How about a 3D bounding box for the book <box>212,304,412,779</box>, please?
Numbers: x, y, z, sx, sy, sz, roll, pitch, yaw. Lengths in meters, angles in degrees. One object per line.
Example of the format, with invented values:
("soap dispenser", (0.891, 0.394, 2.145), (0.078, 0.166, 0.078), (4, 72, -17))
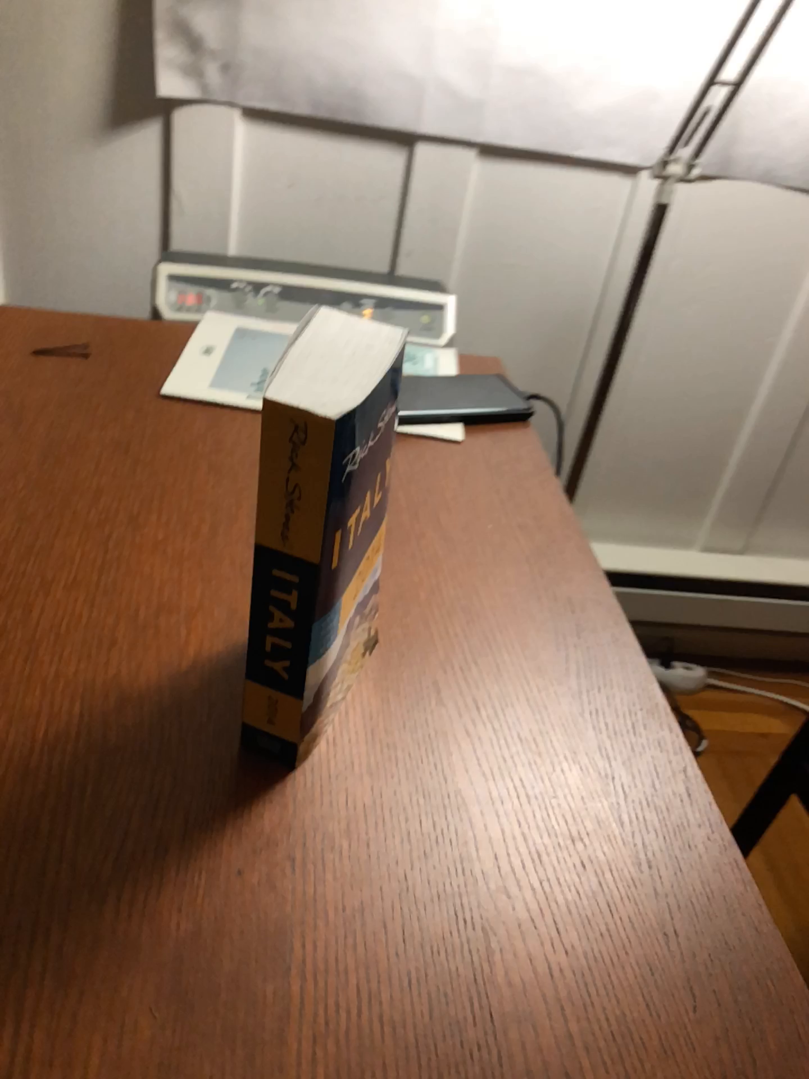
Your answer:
("book", (-0.046, 0.000, 0.458), (0.050, 0.199, 0.131), (12, 33, 9))
